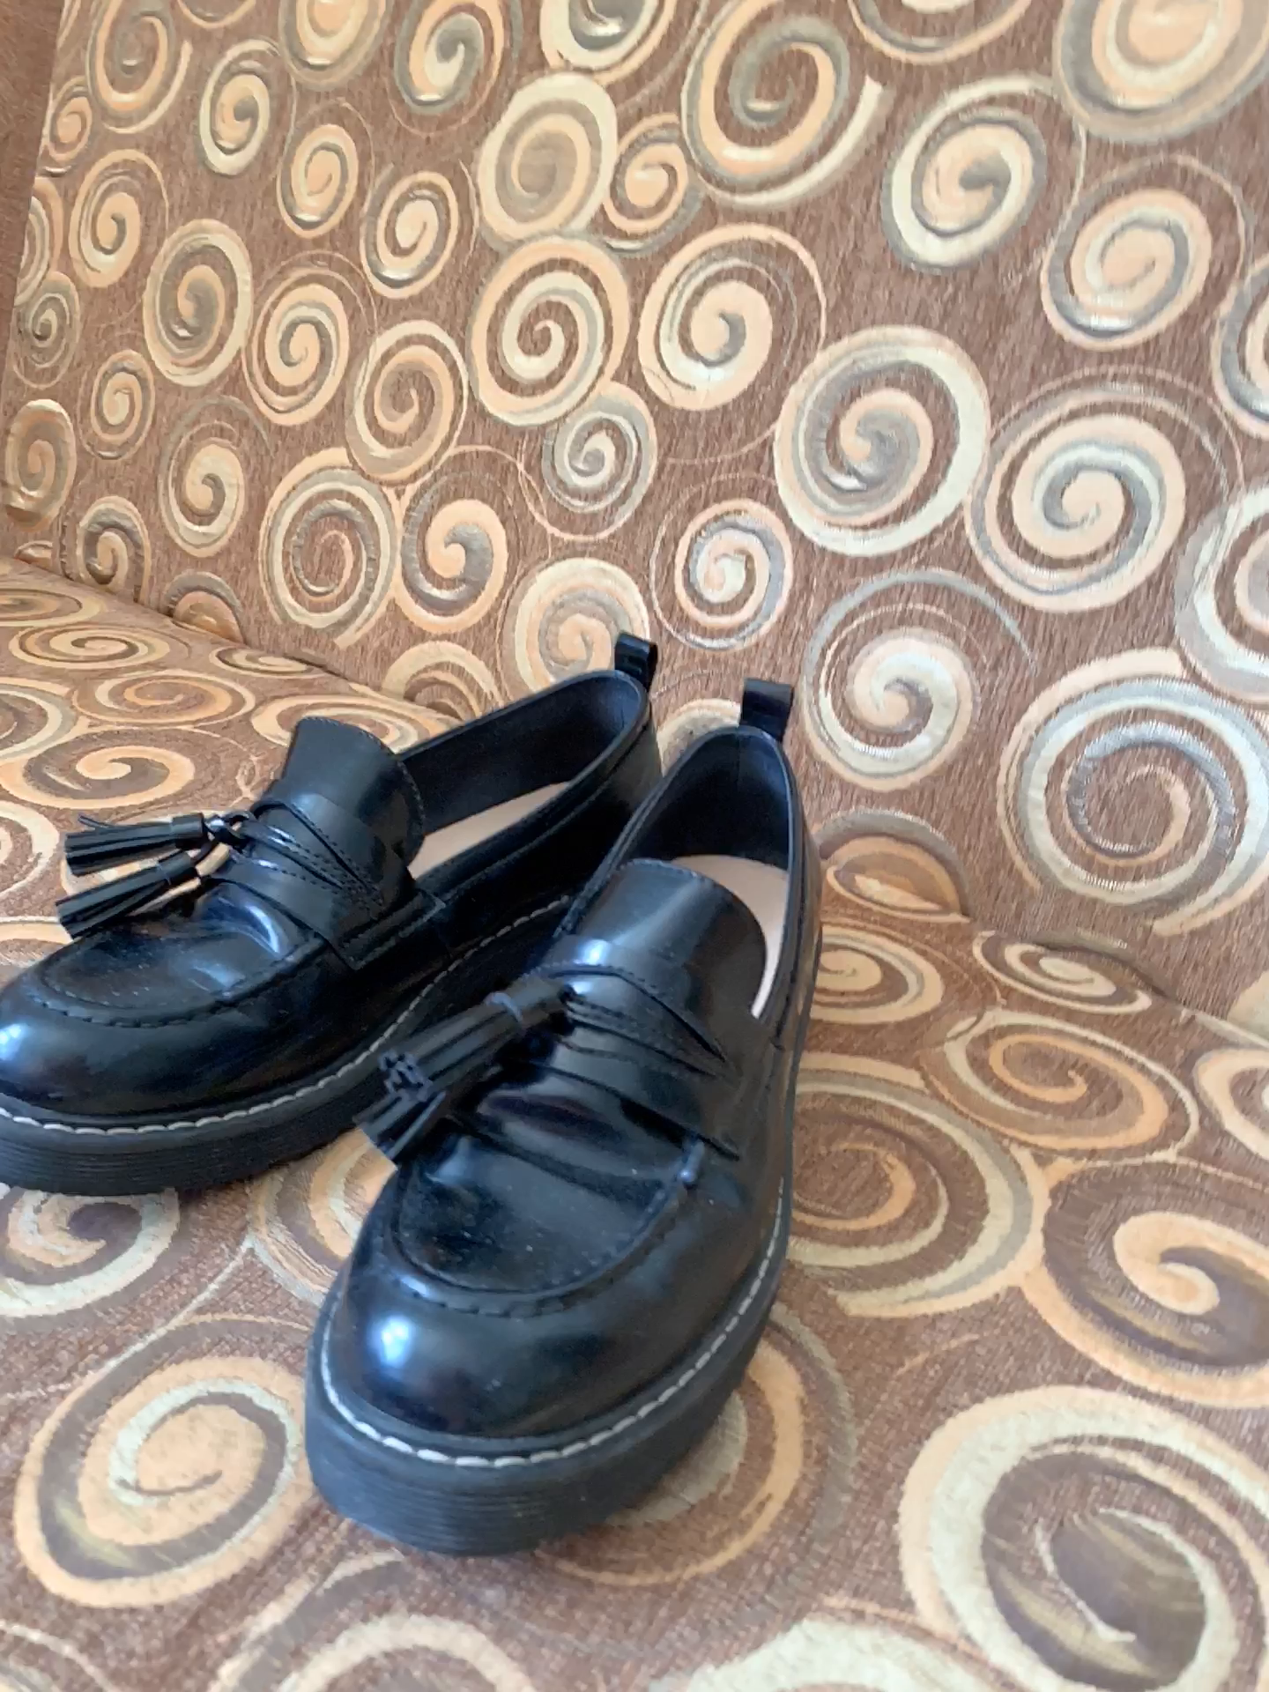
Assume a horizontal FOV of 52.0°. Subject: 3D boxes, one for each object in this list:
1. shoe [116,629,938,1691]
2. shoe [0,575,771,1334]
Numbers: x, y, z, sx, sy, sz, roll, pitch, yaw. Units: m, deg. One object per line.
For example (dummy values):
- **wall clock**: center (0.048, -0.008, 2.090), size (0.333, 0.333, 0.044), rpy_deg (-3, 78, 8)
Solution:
- **shoe**: center (0.001, 0.042, 0.310), size (0.090, 0.099, 0.241), rpy_deg (12, 31, 16)
- **shoe**: center (-0.074, 0.008, 0.370), size (0.090, 0.099, 0.241), rpy_deg (26, 37, 34)
